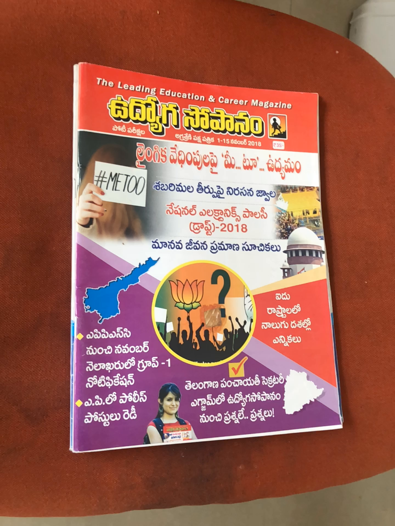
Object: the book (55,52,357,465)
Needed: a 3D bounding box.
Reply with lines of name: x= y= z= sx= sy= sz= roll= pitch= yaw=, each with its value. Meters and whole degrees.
book: x=0.007 y=-0.010 z=0.349 sx=0.217 sy=0.040 sz=0.294 roll=1 pitch=80 yaw=-13
